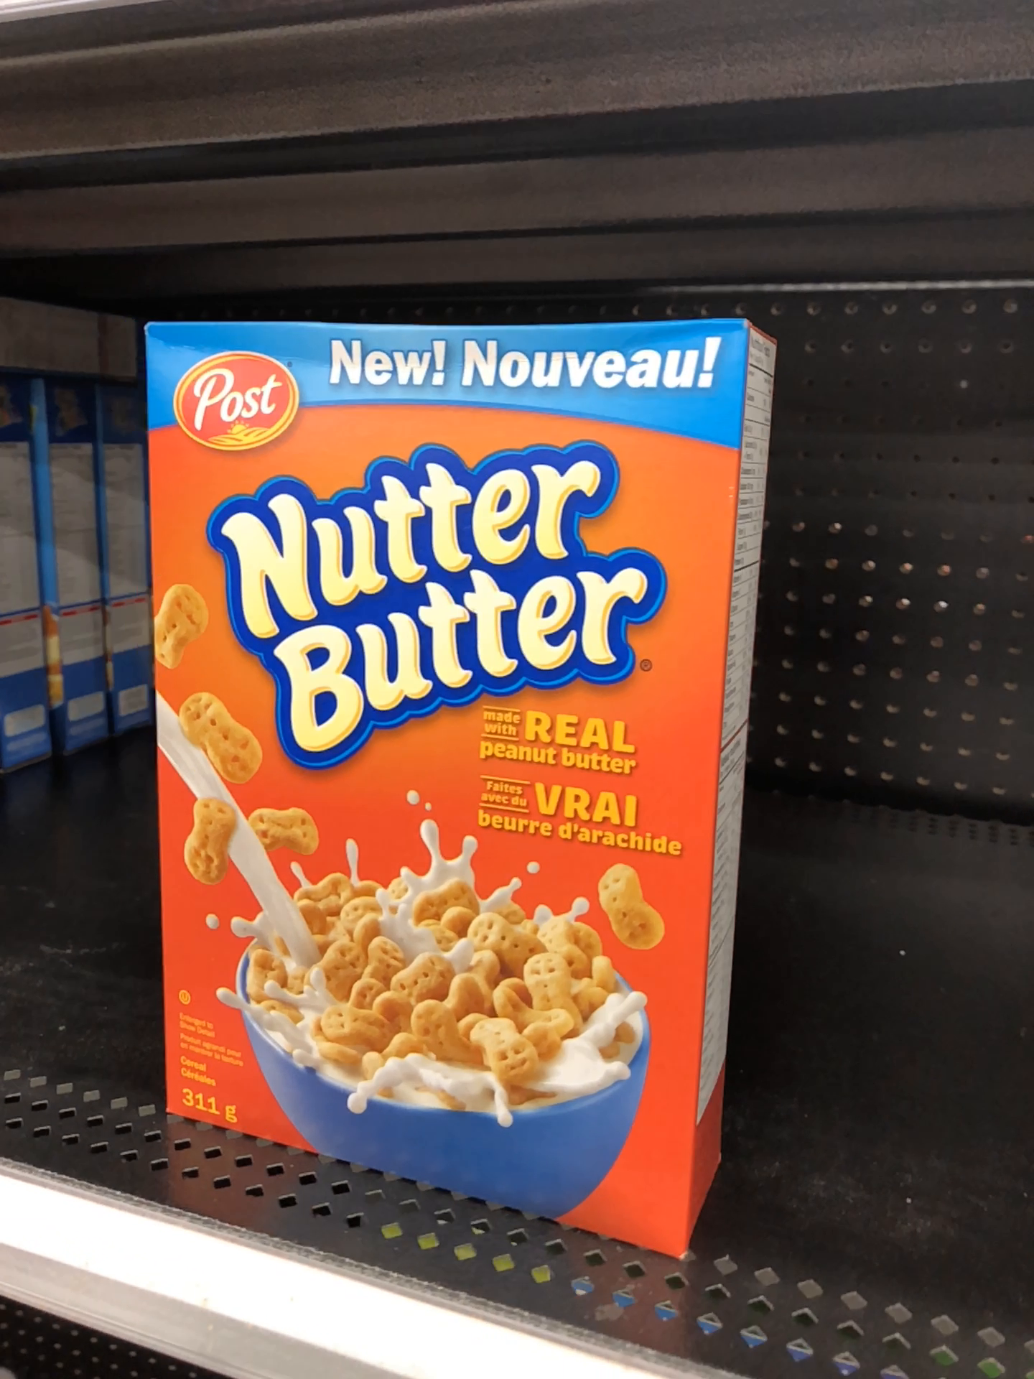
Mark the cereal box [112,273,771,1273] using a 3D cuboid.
[{"bbox_3d":[-0.028,0.019,0.370,0.190,0.279,0.060,6,12,21],"label":"cereal box"}]
